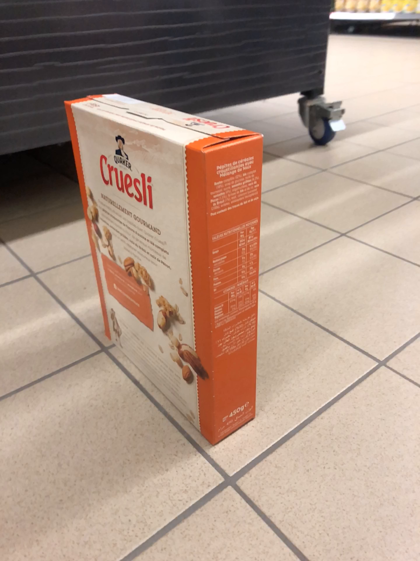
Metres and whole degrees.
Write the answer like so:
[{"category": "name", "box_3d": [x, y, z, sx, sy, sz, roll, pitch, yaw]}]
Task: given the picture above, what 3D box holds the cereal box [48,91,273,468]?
[{"category": "cereal box", "box_3d": [-0.044, -0.010, 0.387, 0.060, 0.249, 0.200, -22, 36, -30]}]
